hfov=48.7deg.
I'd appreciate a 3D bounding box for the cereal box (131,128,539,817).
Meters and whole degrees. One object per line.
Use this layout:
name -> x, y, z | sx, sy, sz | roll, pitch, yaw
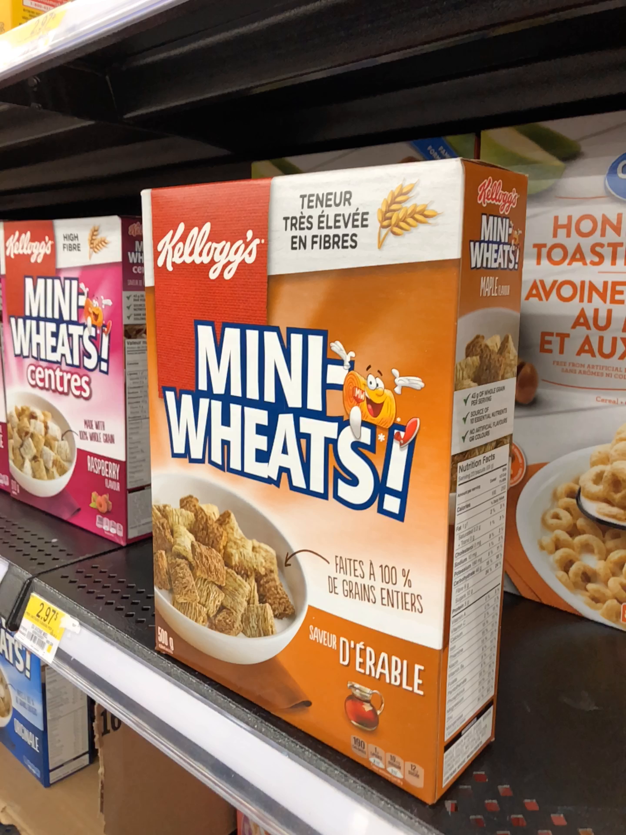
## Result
cereal box -> -0.003, 0.015, 0.349 | 0.200, 0.269, 0.060 | 10, 15, 41
